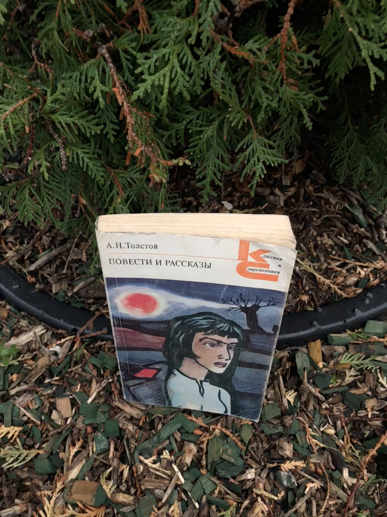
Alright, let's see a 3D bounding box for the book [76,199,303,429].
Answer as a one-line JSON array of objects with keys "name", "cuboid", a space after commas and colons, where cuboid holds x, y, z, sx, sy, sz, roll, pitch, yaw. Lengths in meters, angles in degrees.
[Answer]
[{"name": "book", "cuboid": [0.002, 0.053, 0.323, 0.130, 0.196, 0.041, 6, 44, 8]}]
